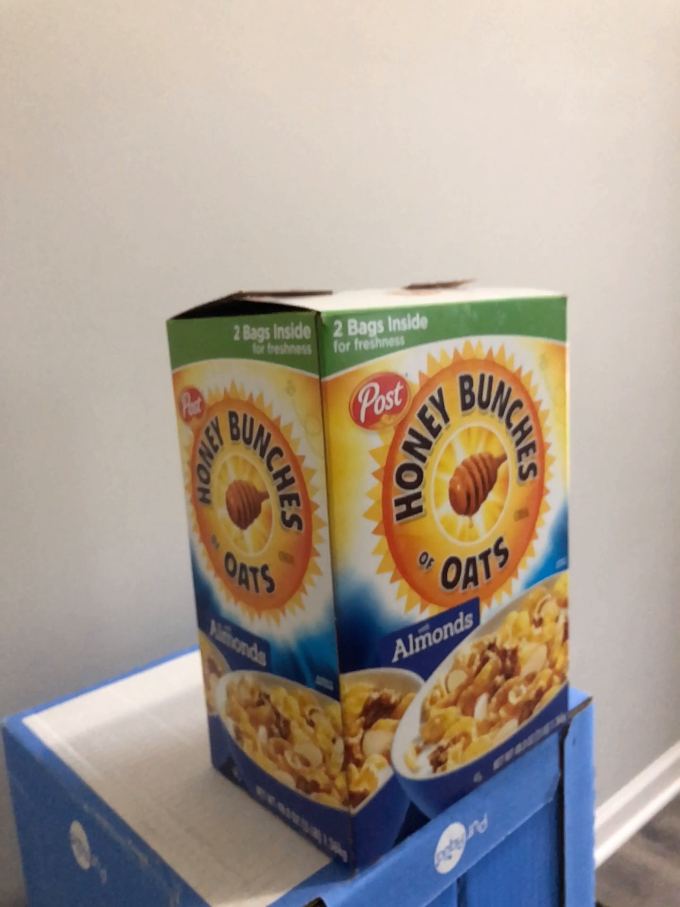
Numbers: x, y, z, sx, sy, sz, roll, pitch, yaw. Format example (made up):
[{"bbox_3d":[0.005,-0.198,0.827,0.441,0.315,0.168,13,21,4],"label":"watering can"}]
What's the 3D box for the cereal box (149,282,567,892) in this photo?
[{"bbox_3d":[0.021,0.052,0.481,0.200,0.299,0.150,-13,14,-40],"label":"cereal box"}]
